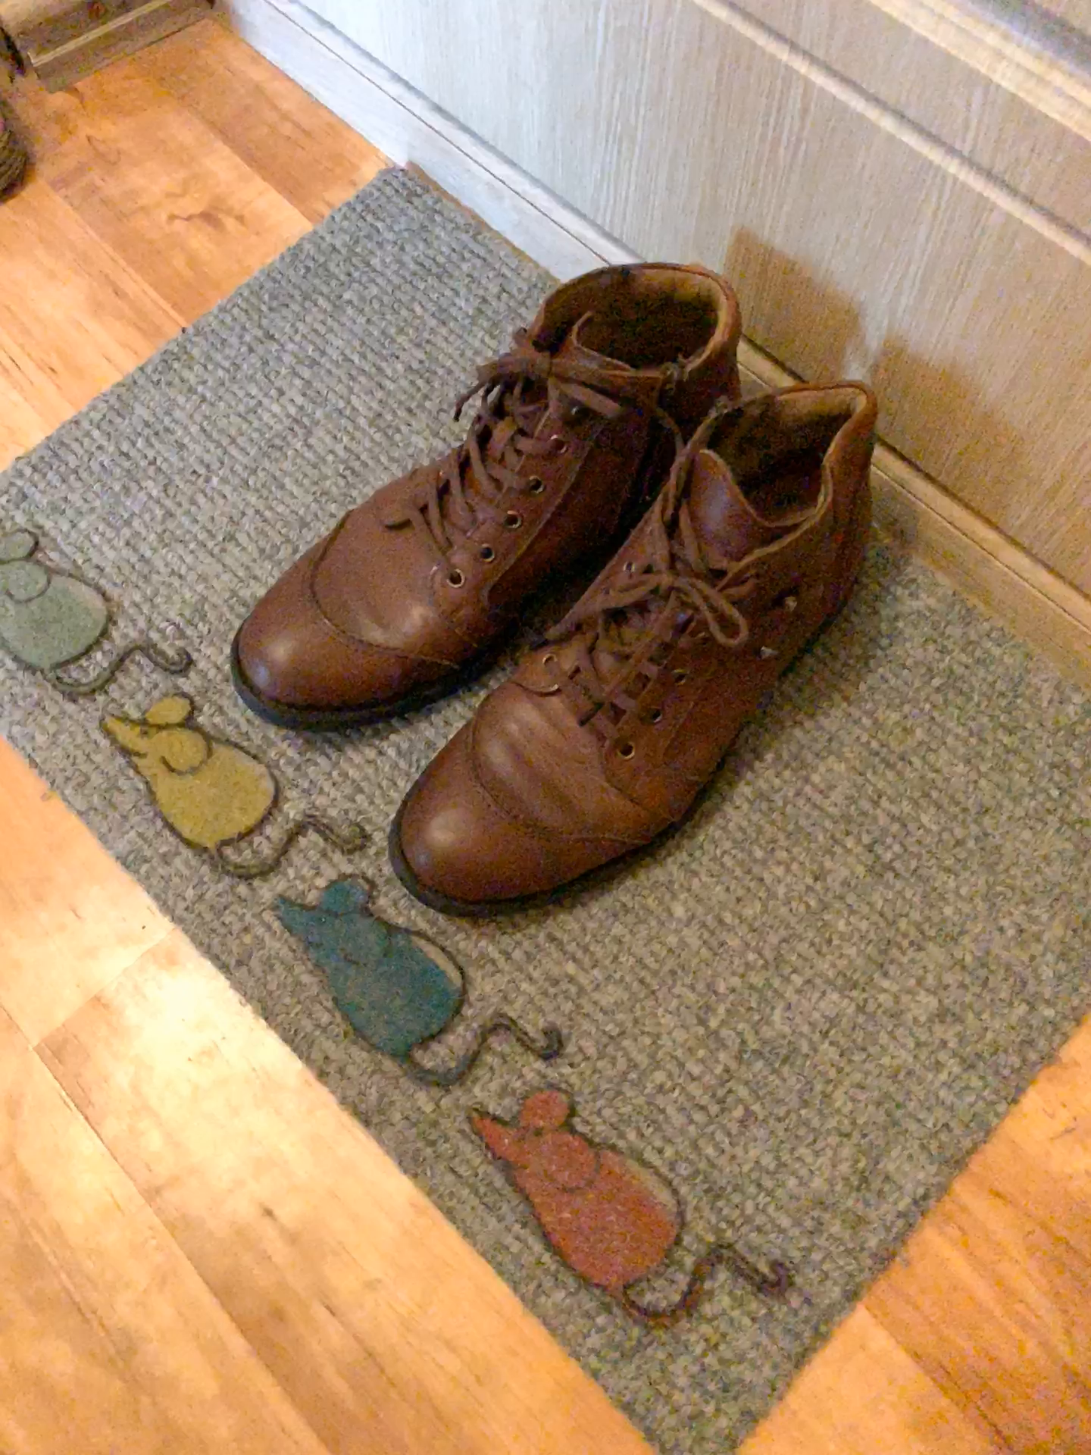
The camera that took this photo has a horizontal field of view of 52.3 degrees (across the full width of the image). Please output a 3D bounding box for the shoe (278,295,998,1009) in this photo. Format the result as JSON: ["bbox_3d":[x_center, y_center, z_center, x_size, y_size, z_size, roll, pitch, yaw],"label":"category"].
[{"bbox_3d":[0.041,-0.026,0.474,0.110,0.140,0.270,43,75,14],"label":"shoe"}]

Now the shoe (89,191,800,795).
[{"bbox_3d":[-0.038,-0.100,0.505,0.260,0.140,0.110,-30,72,-10],"label":"shoe"}]
